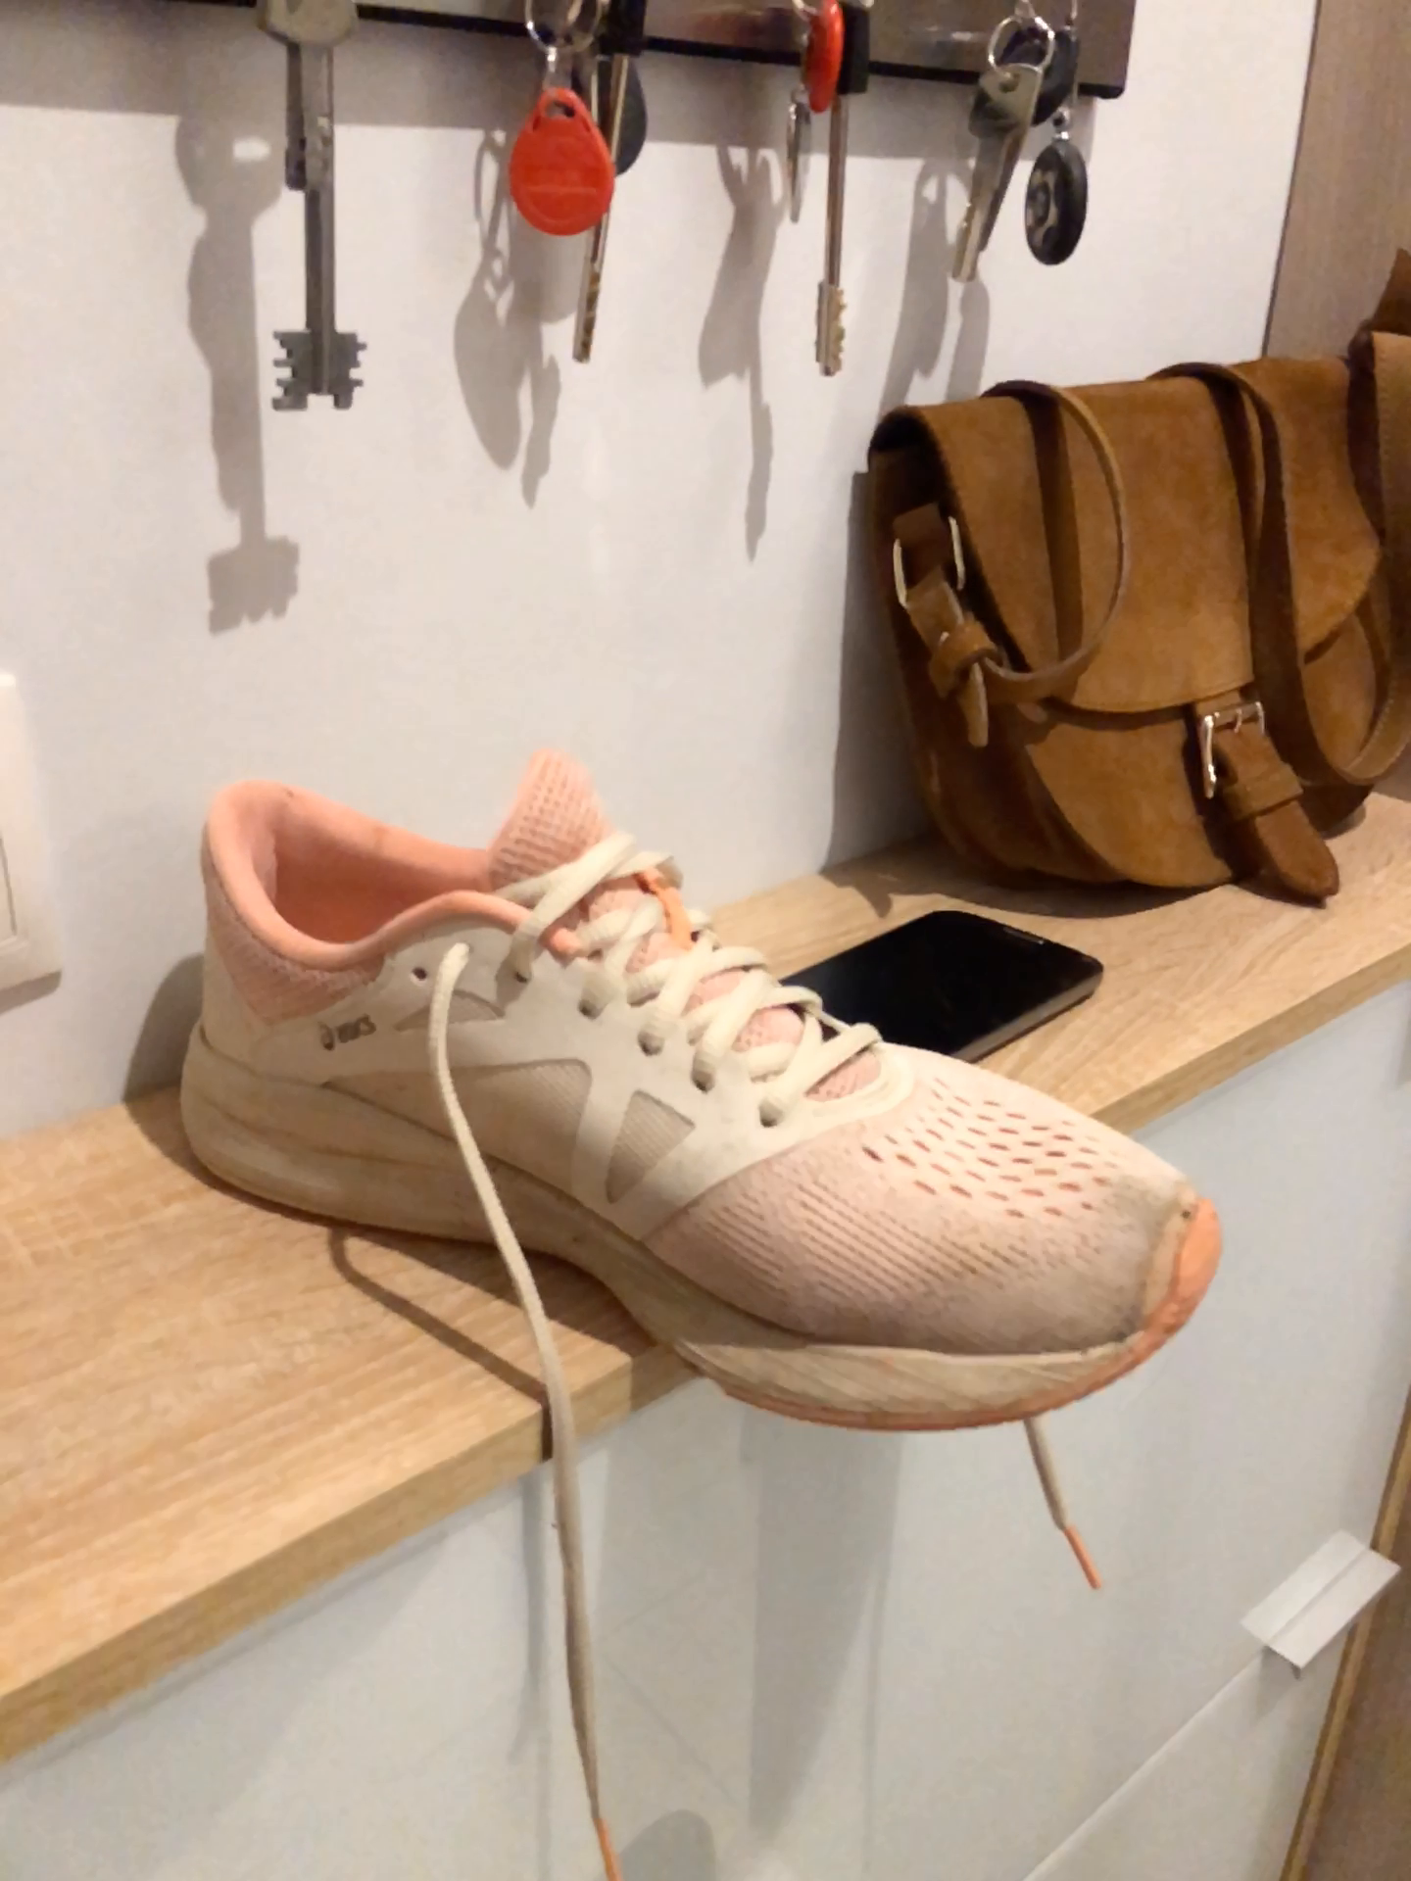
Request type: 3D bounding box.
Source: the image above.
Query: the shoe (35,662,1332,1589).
[{"bbox_3d":[-0.014,0.018,0.361,0.268,0.103,0.111,15,29,28],"label":"shoe"}]
